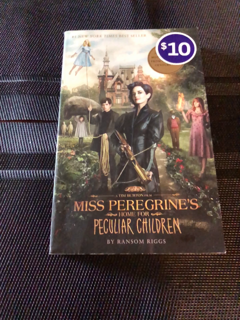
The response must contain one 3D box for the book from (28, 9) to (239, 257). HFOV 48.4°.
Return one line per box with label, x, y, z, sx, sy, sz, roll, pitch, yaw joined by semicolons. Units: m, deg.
book;0.009;-0.032;0.259;0.160;0.050;0.230;-1;74;1
